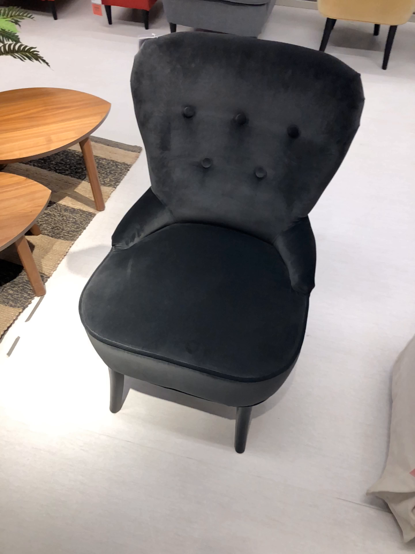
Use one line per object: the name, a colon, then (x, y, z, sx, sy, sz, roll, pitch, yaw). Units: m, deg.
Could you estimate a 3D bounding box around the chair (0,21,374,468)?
chair: (0.011, -0.085, 1.236, 0.600, 0.775, 0.794, 13, 52, 9)
